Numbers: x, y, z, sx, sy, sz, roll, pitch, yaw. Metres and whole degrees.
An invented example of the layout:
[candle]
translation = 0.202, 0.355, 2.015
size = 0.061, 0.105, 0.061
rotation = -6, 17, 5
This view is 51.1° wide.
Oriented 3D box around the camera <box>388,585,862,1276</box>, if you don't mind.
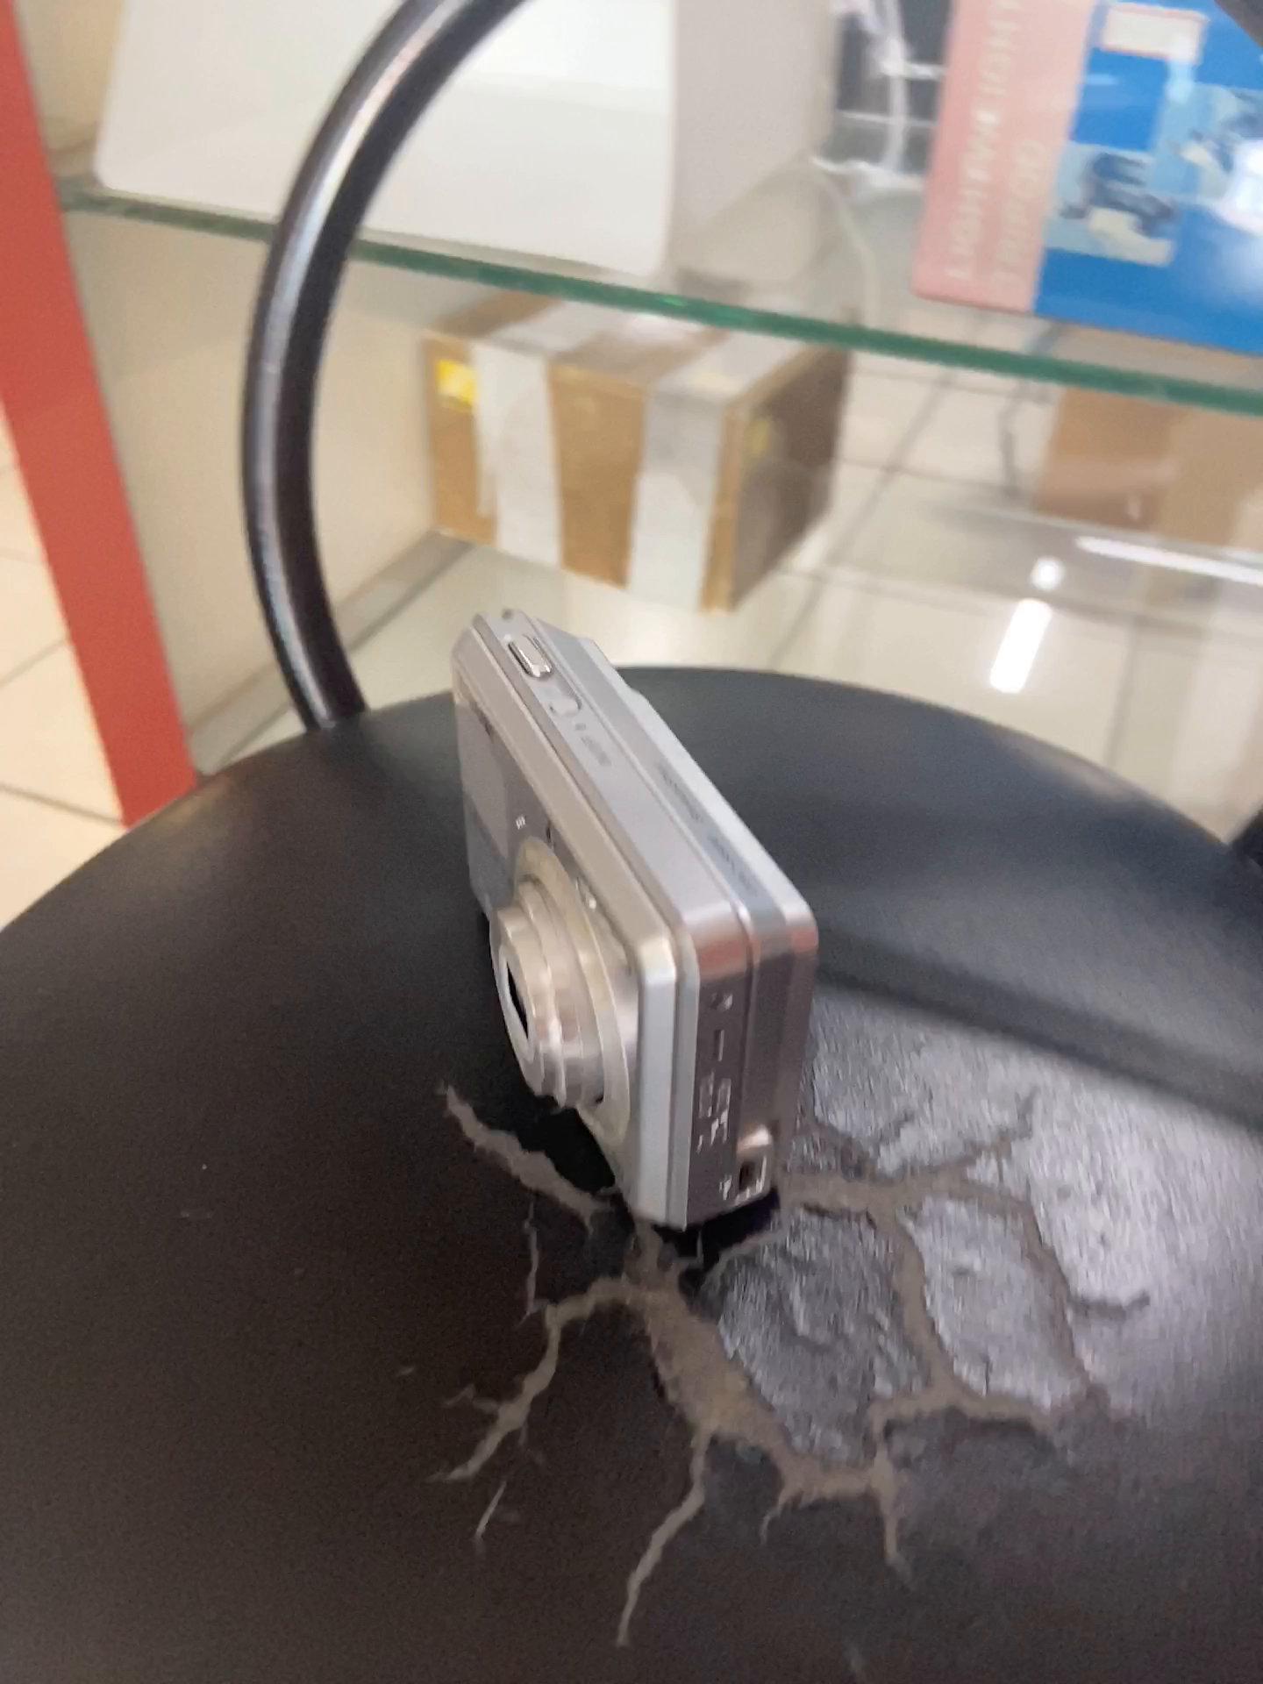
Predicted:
[camera]
translation = -0.006, 0.009, 0.199
size = 0.035, 0.057, 0.083
rotation = -14, 42, -19
